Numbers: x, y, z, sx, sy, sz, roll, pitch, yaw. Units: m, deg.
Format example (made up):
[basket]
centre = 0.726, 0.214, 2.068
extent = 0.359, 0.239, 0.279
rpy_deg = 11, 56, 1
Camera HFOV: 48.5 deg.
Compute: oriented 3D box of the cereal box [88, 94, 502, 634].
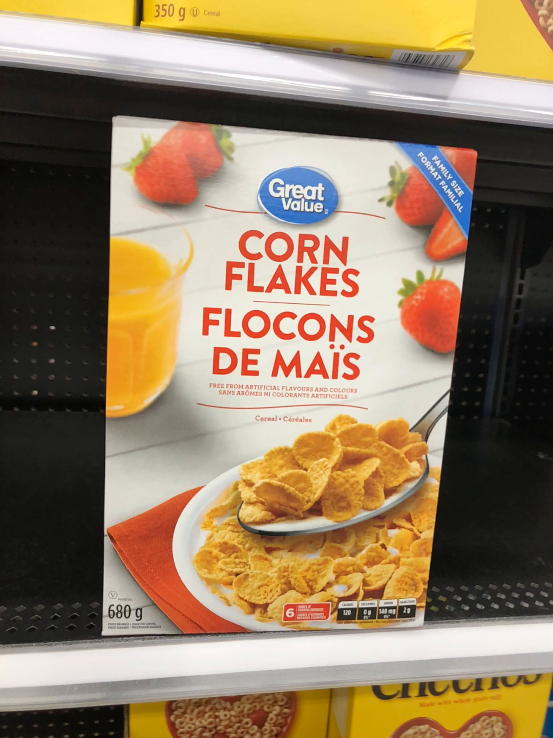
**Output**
[cereal box]
centre = 0.001, 0.005, 0.430
extent = 0.240, 0.329, 0.090
rpy_deg = 2, 11, -9
